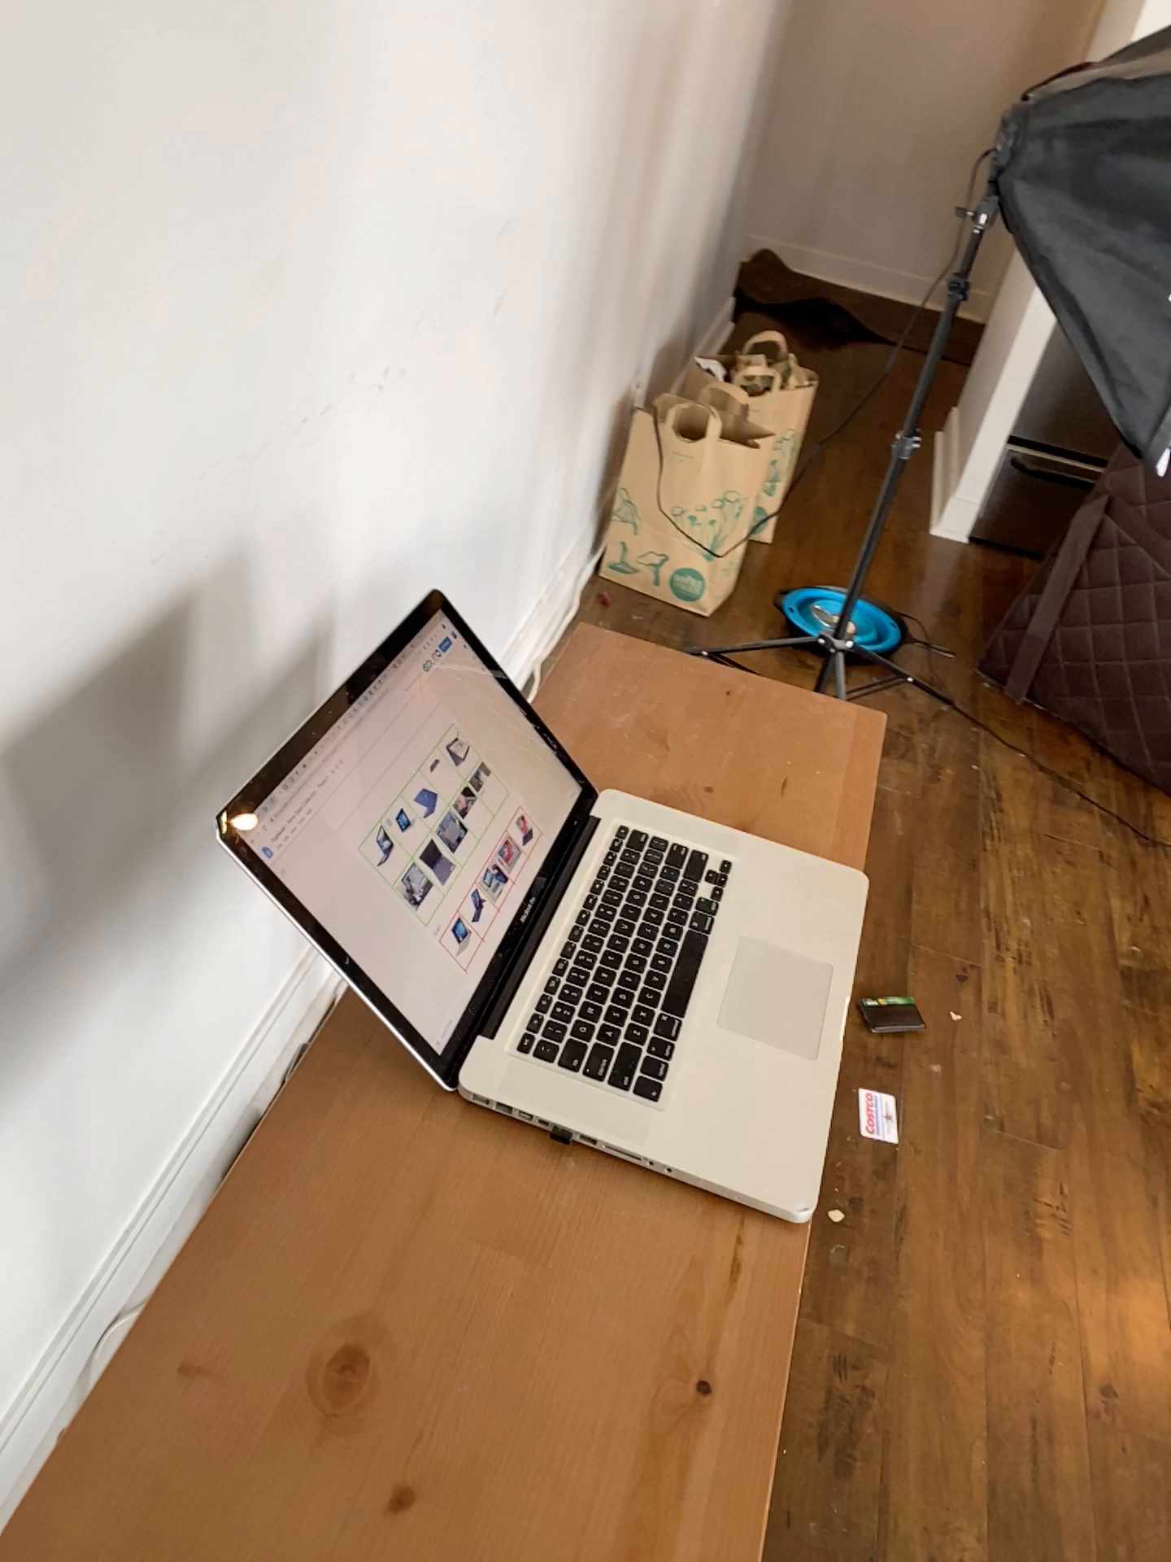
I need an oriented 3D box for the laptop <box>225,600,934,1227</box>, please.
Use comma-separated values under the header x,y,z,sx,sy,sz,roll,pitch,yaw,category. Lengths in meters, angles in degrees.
x,y,z,sx,sy,sz,roll,pitch,yaw,category
0.016,0.068,0.908,0.435,0.155,0.361,18,37,8,laptop
